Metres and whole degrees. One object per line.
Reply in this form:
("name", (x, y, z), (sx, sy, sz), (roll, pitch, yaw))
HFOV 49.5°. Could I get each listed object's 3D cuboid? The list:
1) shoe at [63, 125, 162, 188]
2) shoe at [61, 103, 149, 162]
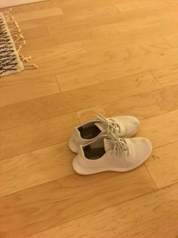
("shoe", (0.068, 0.116, 0.618), (0.280, 0.070, 0.121), (-12, 52, -6))
("shoe", (0.052, 0.042, 0.675), (0.270, 0.070, 0.121), (-15, 52, -9))
